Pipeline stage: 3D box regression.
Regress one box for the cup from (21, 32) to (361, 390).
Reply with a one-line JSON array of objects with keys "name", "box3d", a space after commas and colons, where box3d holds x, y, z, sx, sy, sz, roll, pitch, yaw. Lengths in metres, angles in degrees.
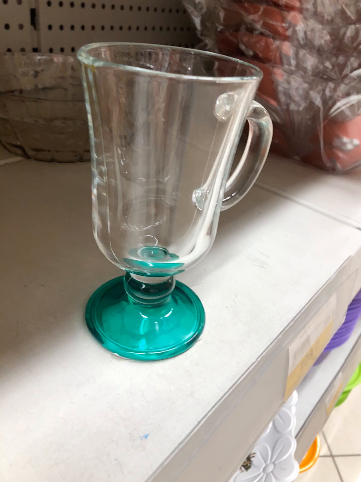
[{"name": "cup", "box3d": [0.002, -0.024, 0.189, 0.108, 0.118, 0.086, -21, 43, -34]}]
